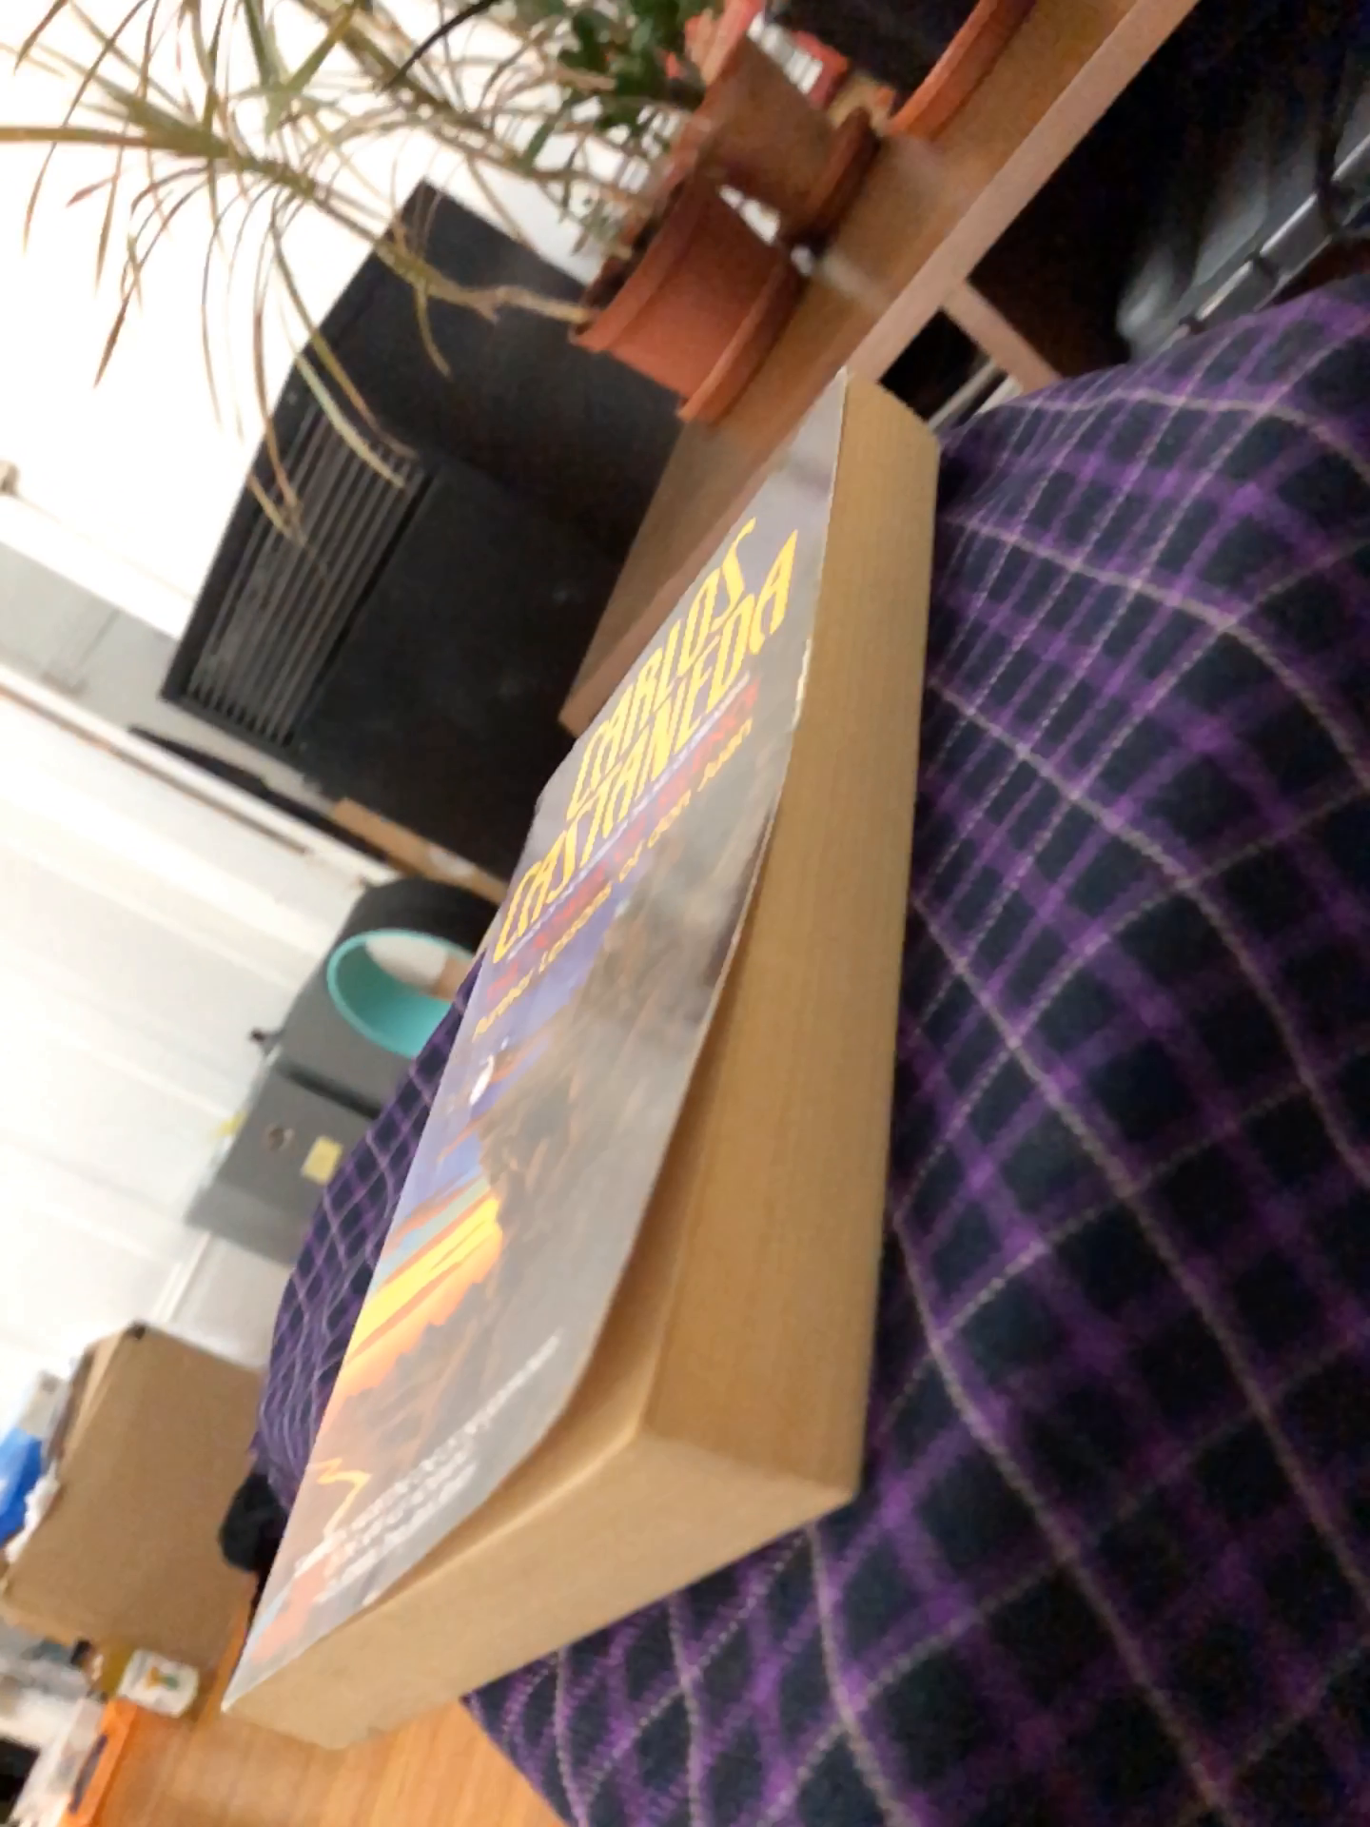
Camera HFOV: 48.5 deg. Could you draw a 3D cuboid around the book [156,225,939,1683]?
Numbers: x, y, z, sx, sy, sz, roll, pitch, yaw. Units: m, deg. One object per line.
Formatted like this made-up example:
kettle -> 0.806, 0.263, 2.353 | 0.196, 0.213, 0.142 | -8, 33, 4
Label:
book -> -0.017, -0.003, 0.258 | 0.150, 0.020, 0.221 | -47, 22, 43
